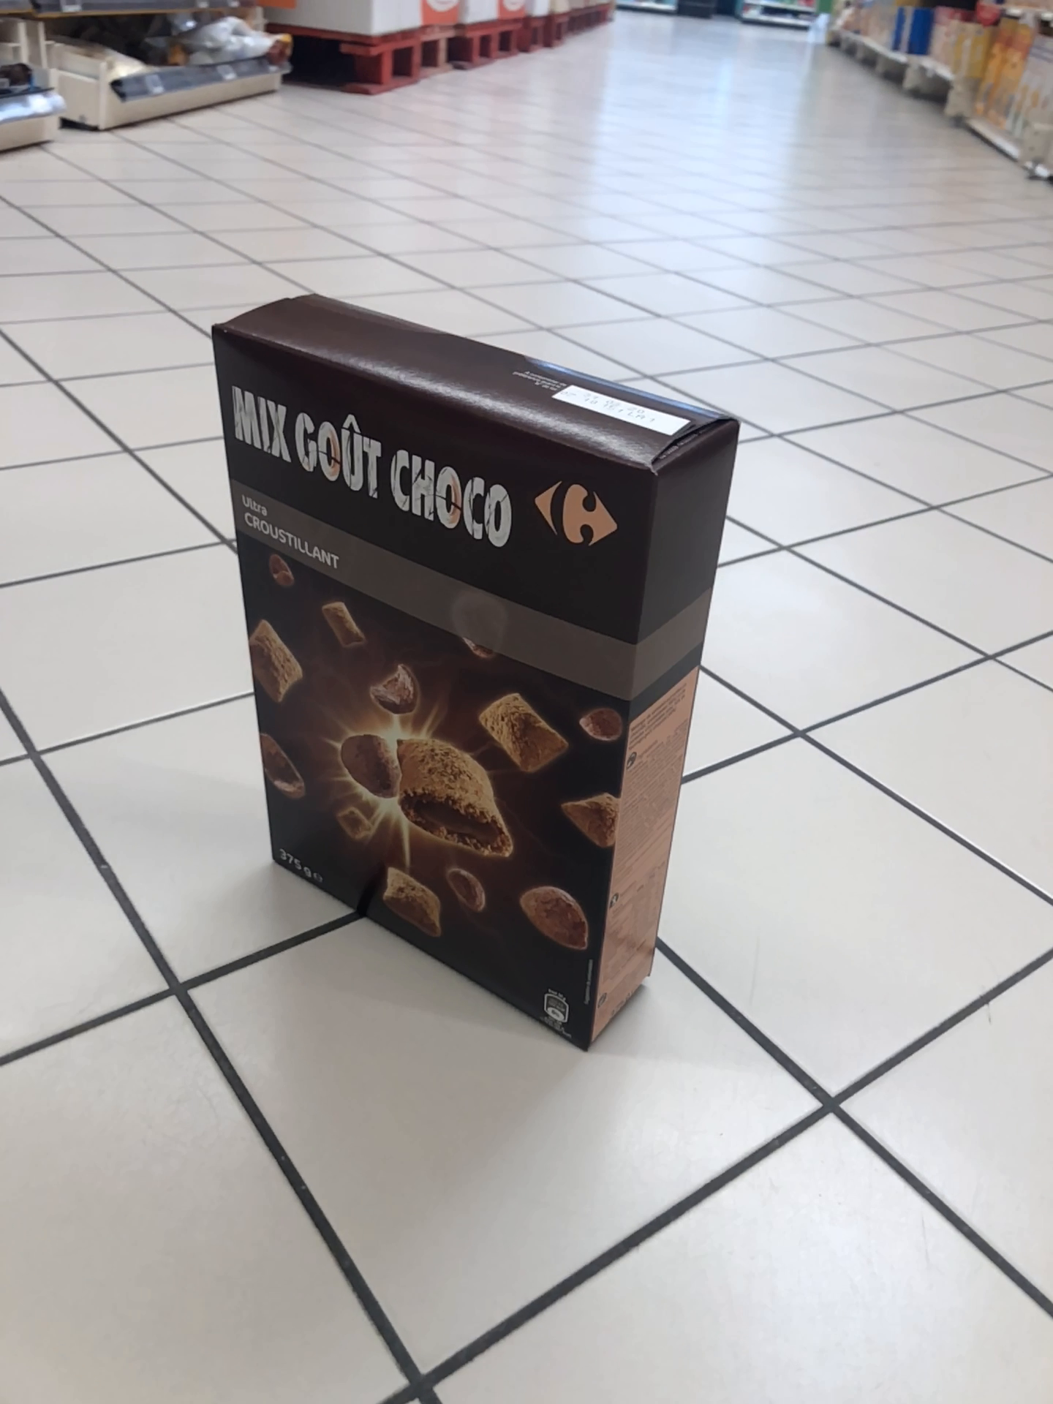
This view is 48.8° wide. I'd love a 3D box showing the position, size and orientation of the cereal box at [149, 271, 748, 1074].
[{"bbox_3d":[-0.039,-0.011,0.477,0.200,0.268,0.081,24,39,26],"label":"cereal box"}]
